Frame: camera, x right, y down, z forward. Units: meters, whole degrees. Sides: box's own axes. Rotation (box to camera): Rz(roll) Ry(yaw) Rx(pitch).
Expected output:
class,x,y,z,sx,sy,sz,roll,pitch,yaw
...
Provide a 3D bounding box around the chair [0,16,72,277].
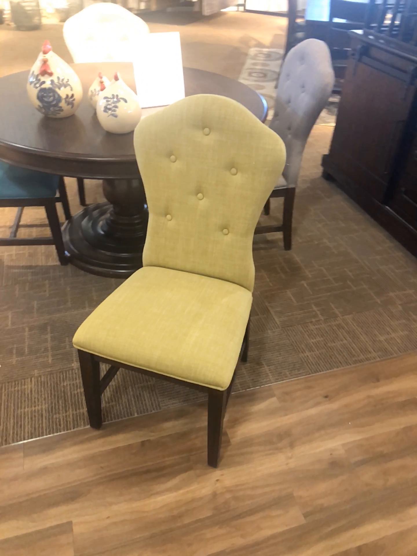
class,x,y,z,sx,sy,sz,roll,pitch,yaw
chair,-0.985,-0.563,2.017,0.575,0.960,0.521,-4,38,-9

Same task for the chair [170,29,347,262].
class,x,y,z,sx,sy,sz,roll,pitch,yaw
chair,0.171,-0.645,2.248,0.635,0.950,0.511,-6,39,-11

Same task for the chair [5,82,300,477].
class,x,y,z,sx,sy,sz,roll,pitch,yaw
chair,-0.102,0.008,1.438,0.538,0.979,0.618,12,39,12
